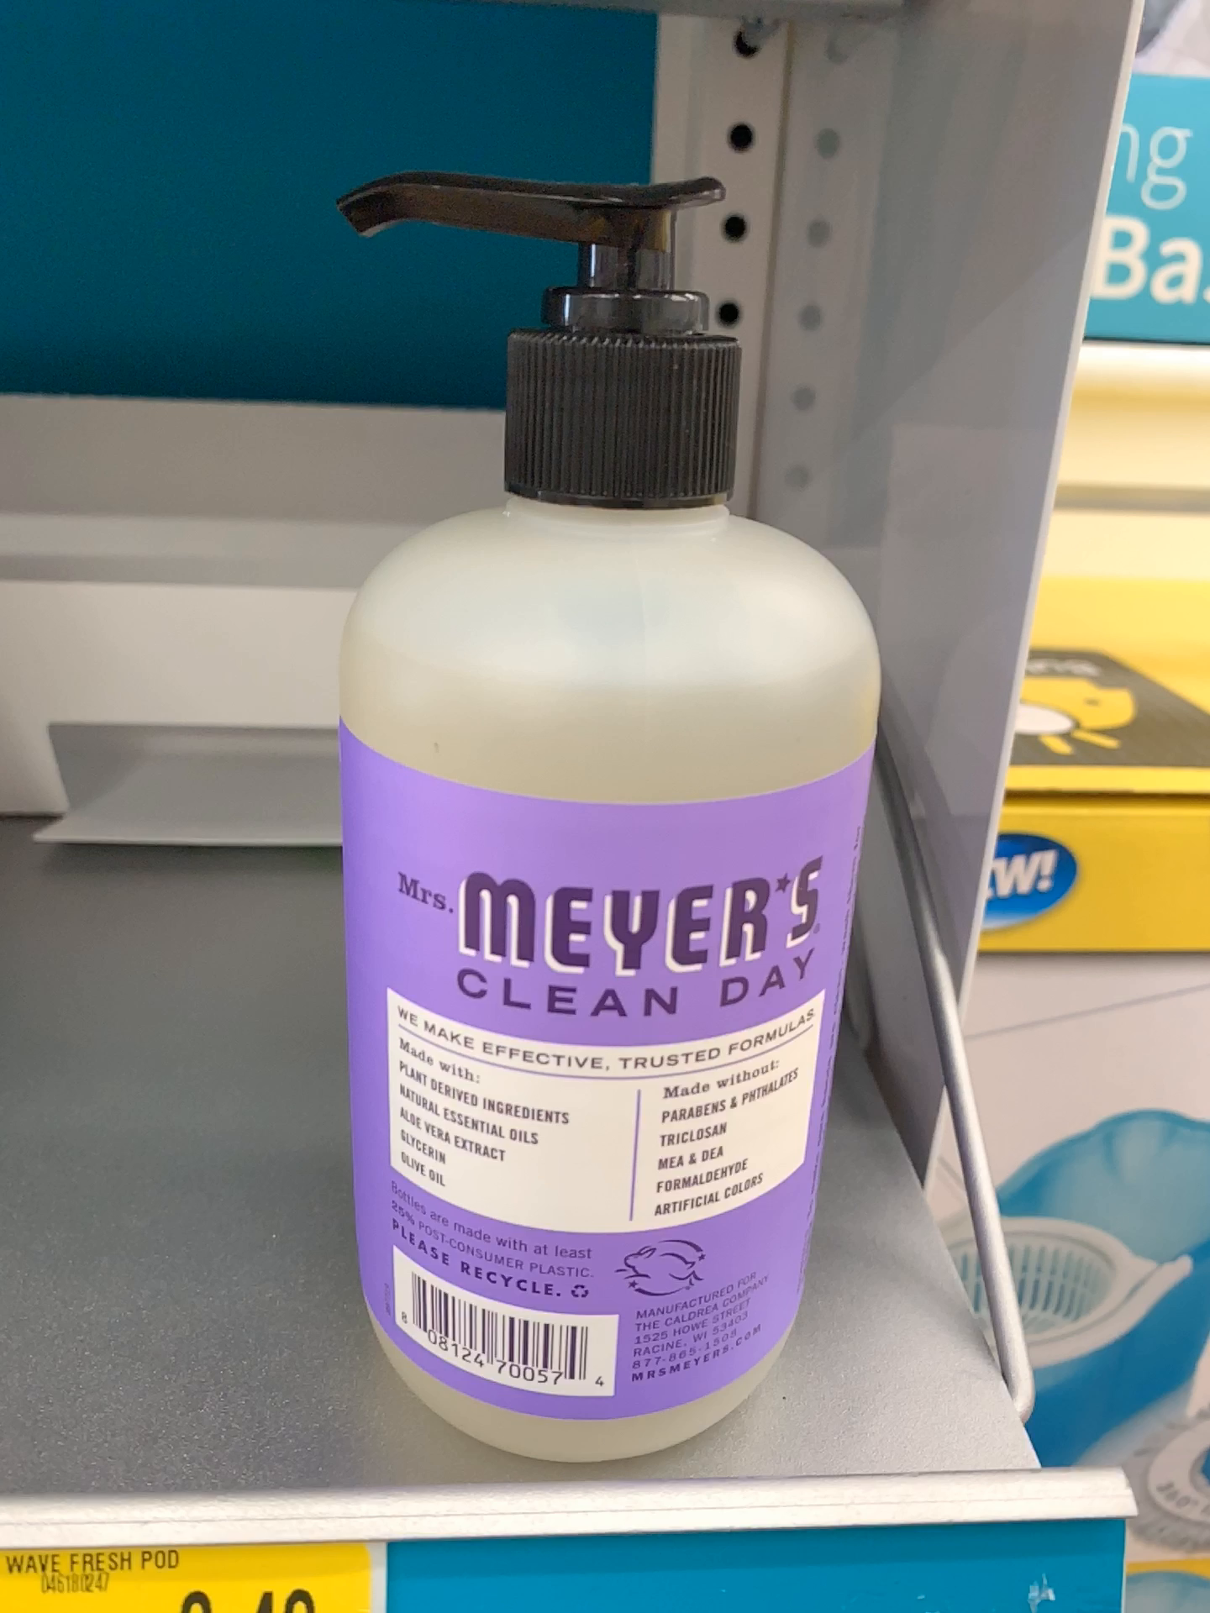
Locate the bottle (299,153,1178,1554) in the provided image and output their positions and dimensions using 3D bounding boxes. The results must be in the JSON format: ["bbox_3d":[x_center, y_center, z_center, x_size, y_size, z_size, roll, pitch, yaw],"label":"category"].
[{"bbox_3d":[0.004,0.006,0.172,0.080,0.159,0.070,-2,22,-12],"label":"bottle"}]
